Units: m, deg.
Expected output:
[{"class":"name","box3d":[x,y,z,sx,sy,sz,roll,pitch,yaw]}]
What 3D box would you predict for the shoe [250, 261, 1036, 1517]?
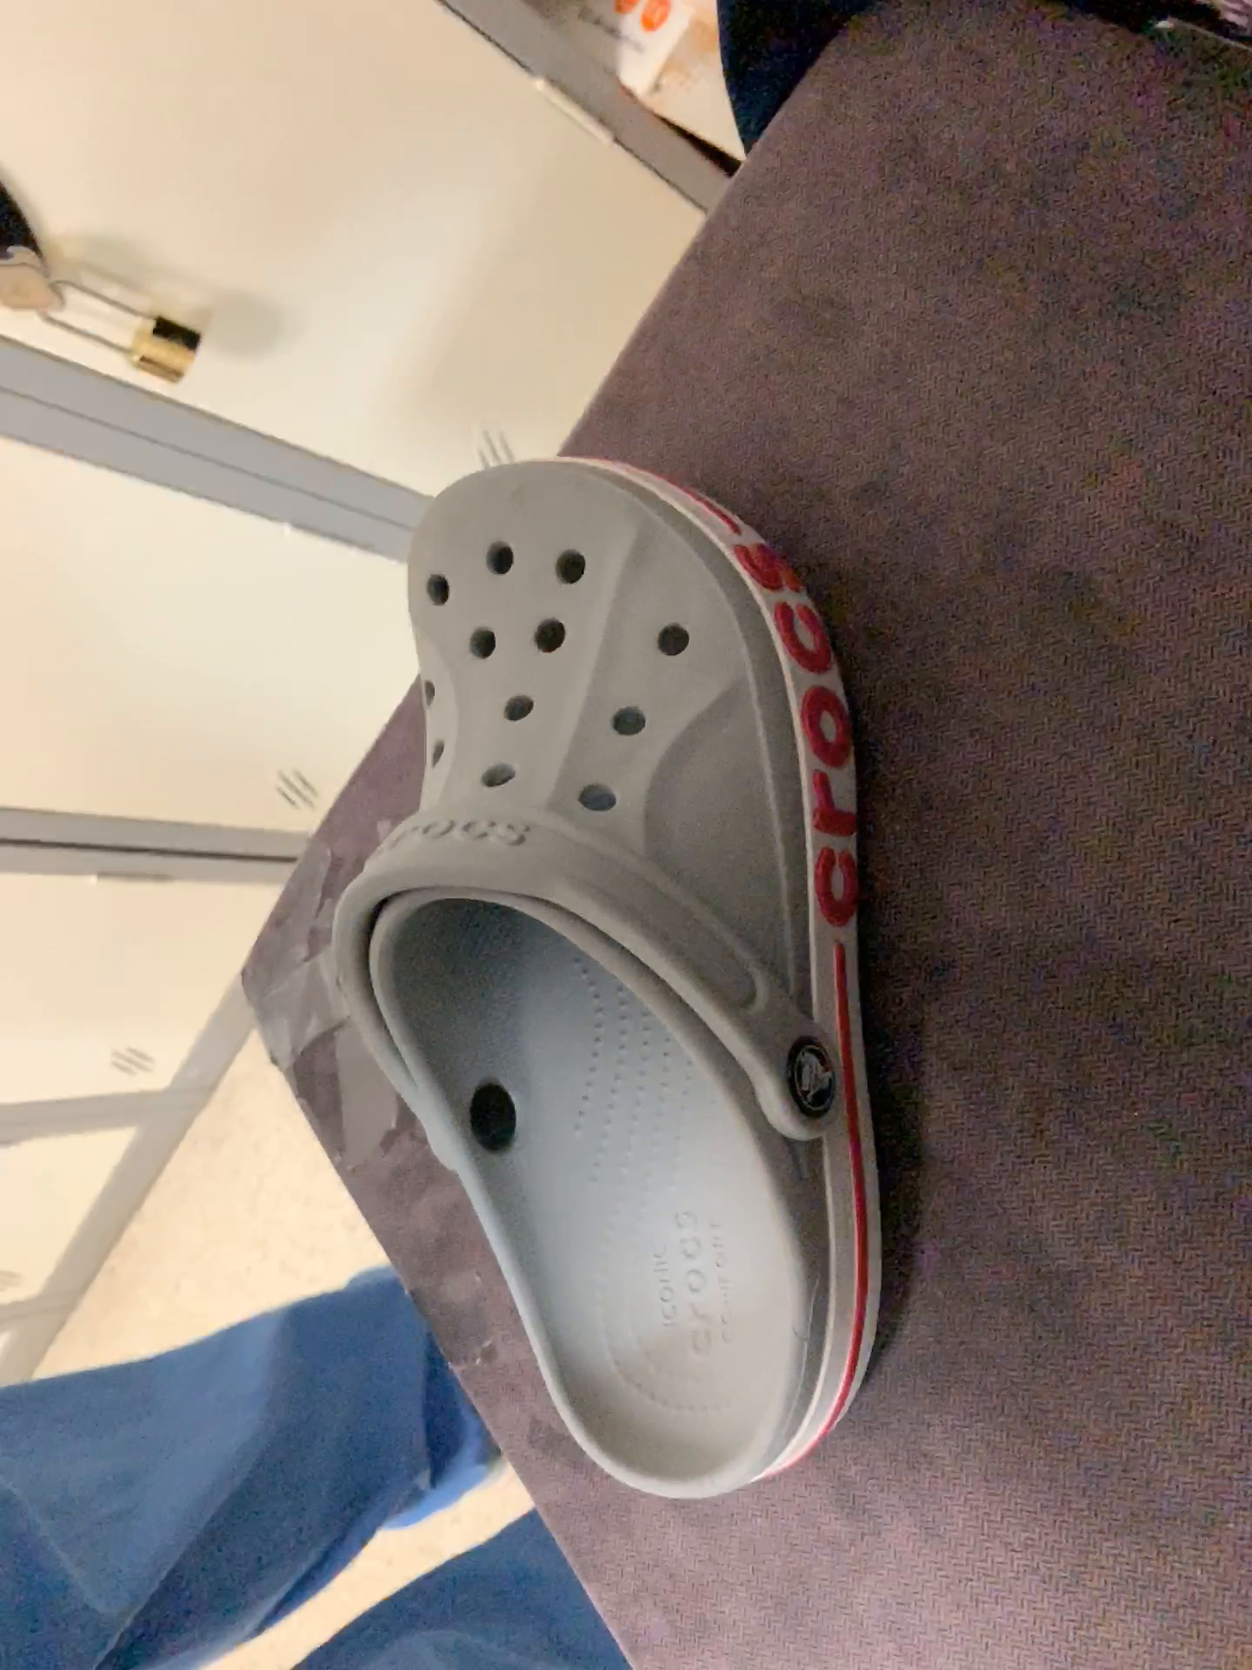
[{"class":"shoe","box3d":[-0.006,0.016,0.300,0.119,0.075,0.239,-21,73,35]}]
